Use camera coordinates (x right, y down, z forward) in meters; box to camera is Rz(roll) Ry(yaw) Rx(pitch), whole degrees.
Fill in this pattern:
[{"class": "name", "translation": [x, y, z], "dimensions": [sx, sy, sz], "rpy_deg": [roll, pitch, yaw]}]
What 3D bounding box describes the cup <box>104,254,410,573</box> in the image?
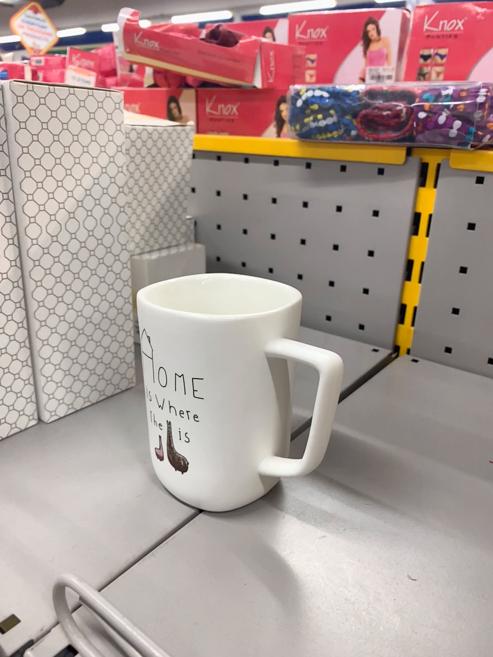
[{"class": "cup", "translation": [0.001, 0.028, 0.250], "dimensions": [0.120, 0.100, 0.070], "rpy_deg": [17, 26, 33]}]
